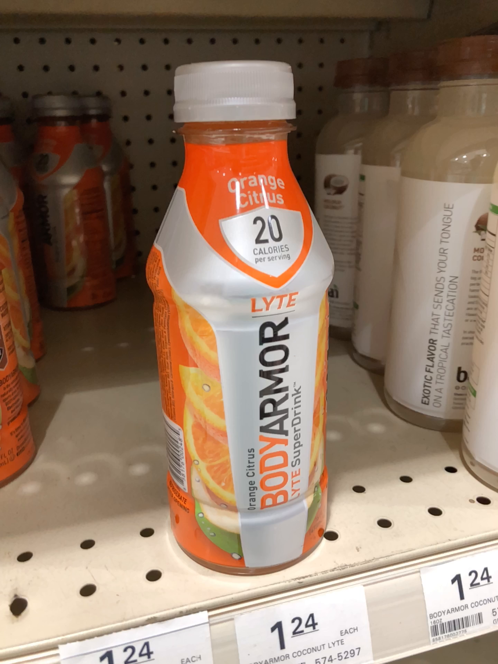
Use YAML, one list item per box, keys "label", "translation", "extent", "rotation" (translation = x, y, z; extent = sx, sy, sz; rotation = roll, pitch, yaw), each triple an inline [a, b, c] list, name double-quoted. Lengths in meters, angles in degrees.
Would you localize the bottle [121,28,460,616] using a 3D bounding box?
- label: "bottle"
  translation: [0.007, -0.005, 0.205]
  extent: [0.080, 0.180, 0.080]
  rotation: [-1, 22, 0]
